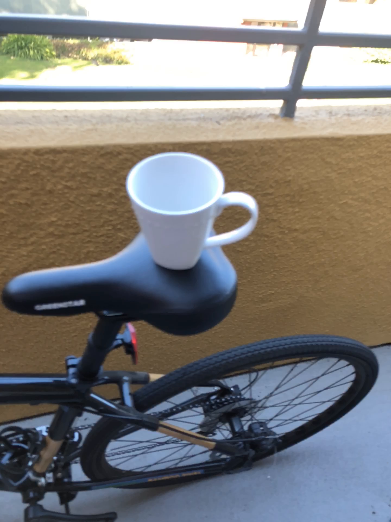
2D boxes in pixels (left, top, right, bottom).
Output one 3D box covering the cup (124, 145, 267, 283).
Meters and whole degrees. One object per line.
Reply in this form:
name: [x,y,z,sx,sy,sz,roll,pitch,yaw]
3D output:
cup: [-0.004,-0.049,0.457,0.130,0.100,0.090,6,44,-5]
